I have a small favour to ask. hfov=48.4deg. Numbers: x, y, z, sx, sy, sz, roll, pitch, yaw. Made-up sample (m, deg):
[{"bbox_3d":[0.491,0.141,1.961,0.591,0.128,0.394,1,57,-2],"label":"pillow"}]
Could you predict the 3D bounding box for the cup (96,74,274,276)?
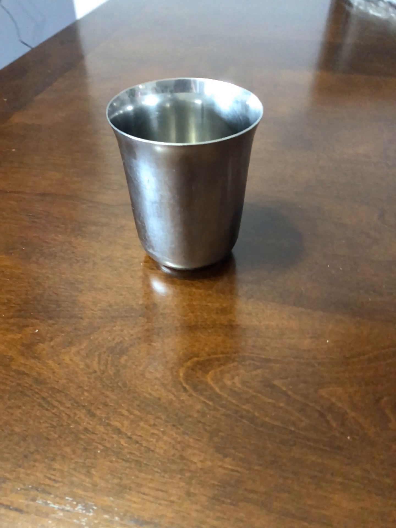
[{"bbox_3d":[-0.008,-0.052,0.254,0.080,0.080,0.080,0,43,0],"label":"cup"}]
